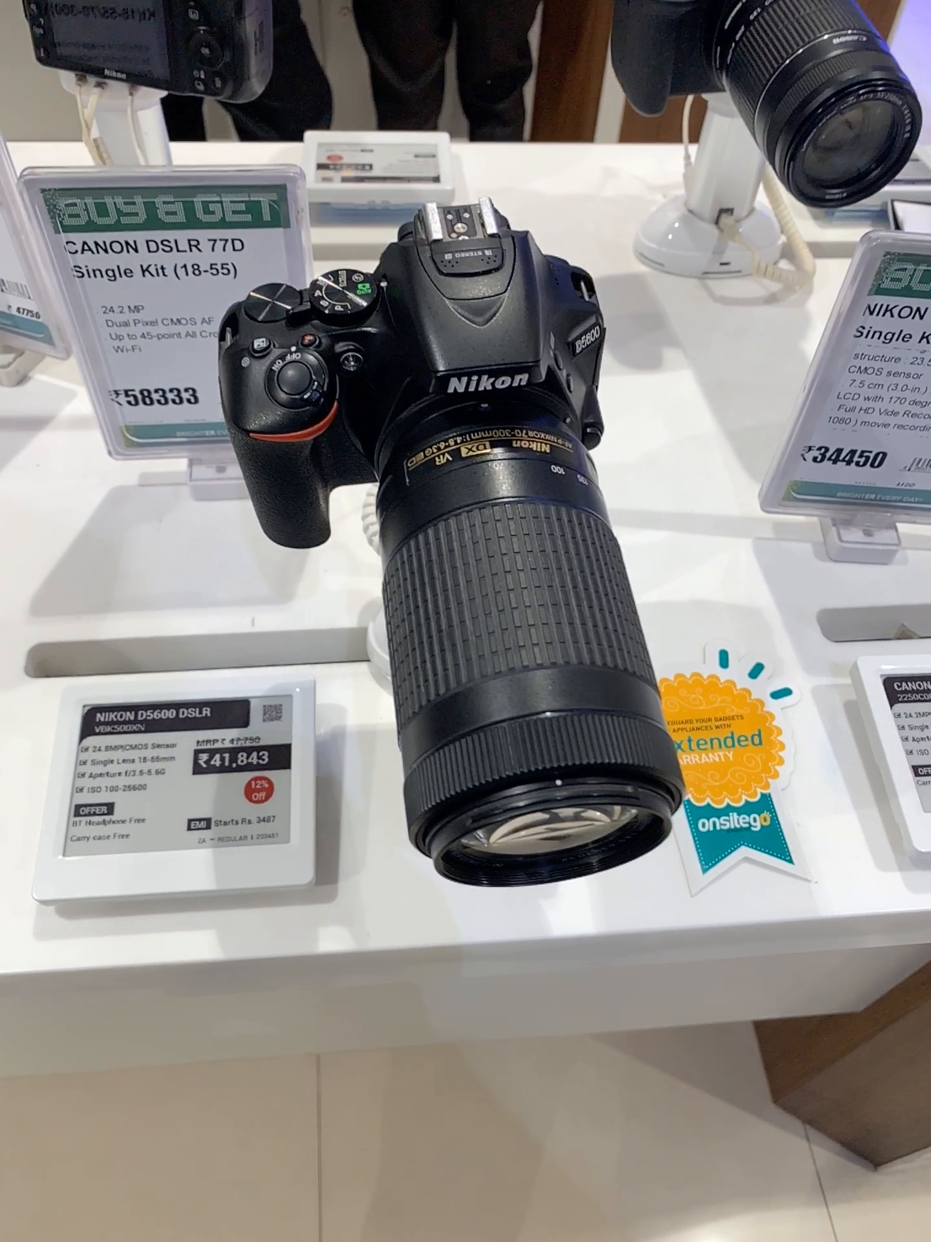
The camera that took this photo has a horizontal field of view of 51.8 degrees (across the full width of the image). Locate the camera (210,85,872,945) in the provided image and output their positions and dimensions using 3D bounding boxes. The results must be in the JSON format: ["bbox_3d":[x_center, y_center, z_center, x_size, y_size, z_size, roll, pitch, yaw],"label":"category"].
[{"bbox_3d":[-0.004,-0.060,0.299,0.130,0.080,0.281,-5,53,-7],"label":"camera"}]
